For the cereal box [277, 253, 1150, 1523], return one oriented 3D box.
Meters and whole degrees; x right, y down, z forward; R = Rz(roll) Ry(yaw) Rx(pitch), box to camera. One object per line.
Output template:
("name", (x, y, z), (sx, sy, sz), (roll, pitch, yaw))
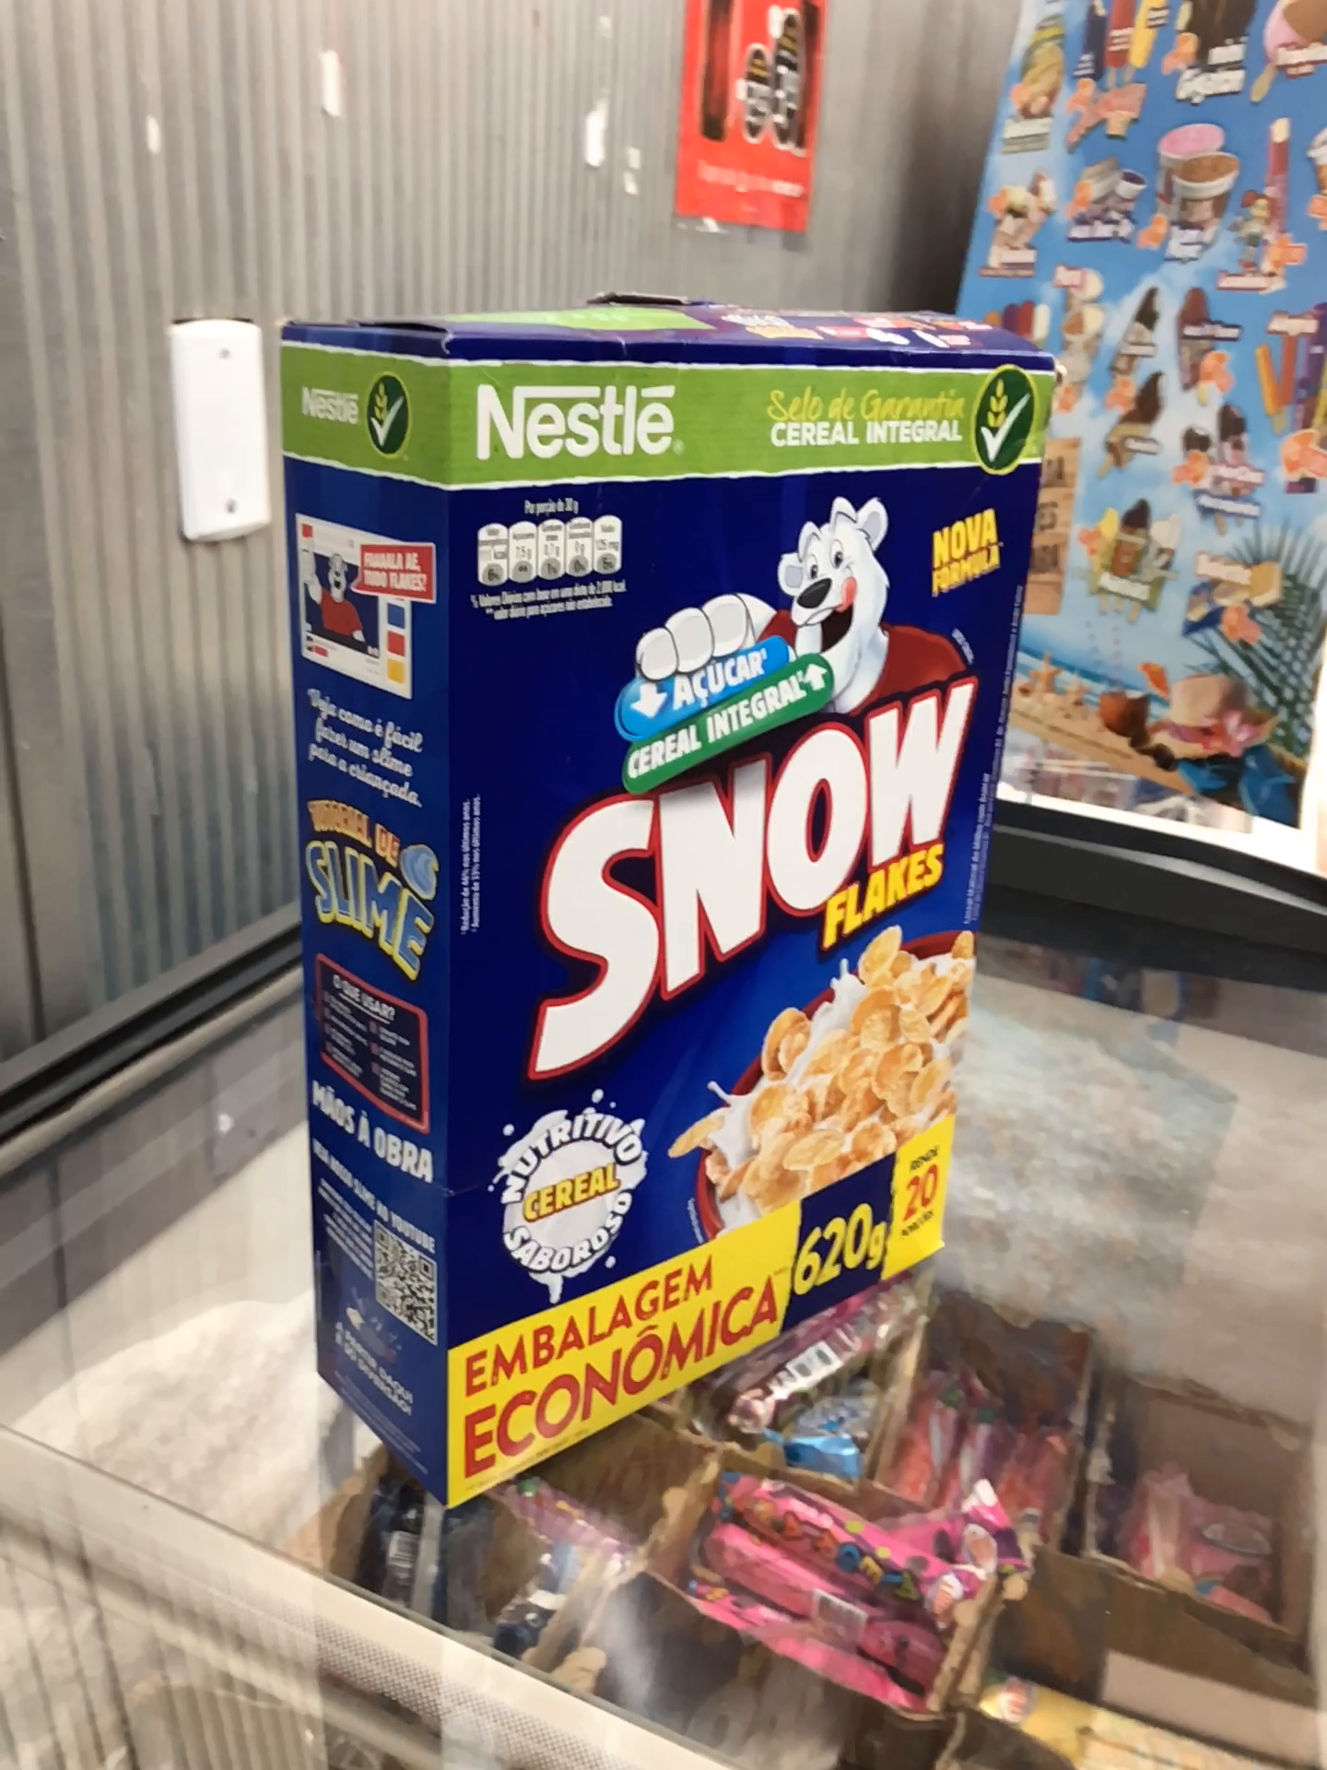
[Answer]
("cereal box", (0.017, -0.009, 0.426), (0.231, 0.308, 0.070), (-15, 29, -38))
